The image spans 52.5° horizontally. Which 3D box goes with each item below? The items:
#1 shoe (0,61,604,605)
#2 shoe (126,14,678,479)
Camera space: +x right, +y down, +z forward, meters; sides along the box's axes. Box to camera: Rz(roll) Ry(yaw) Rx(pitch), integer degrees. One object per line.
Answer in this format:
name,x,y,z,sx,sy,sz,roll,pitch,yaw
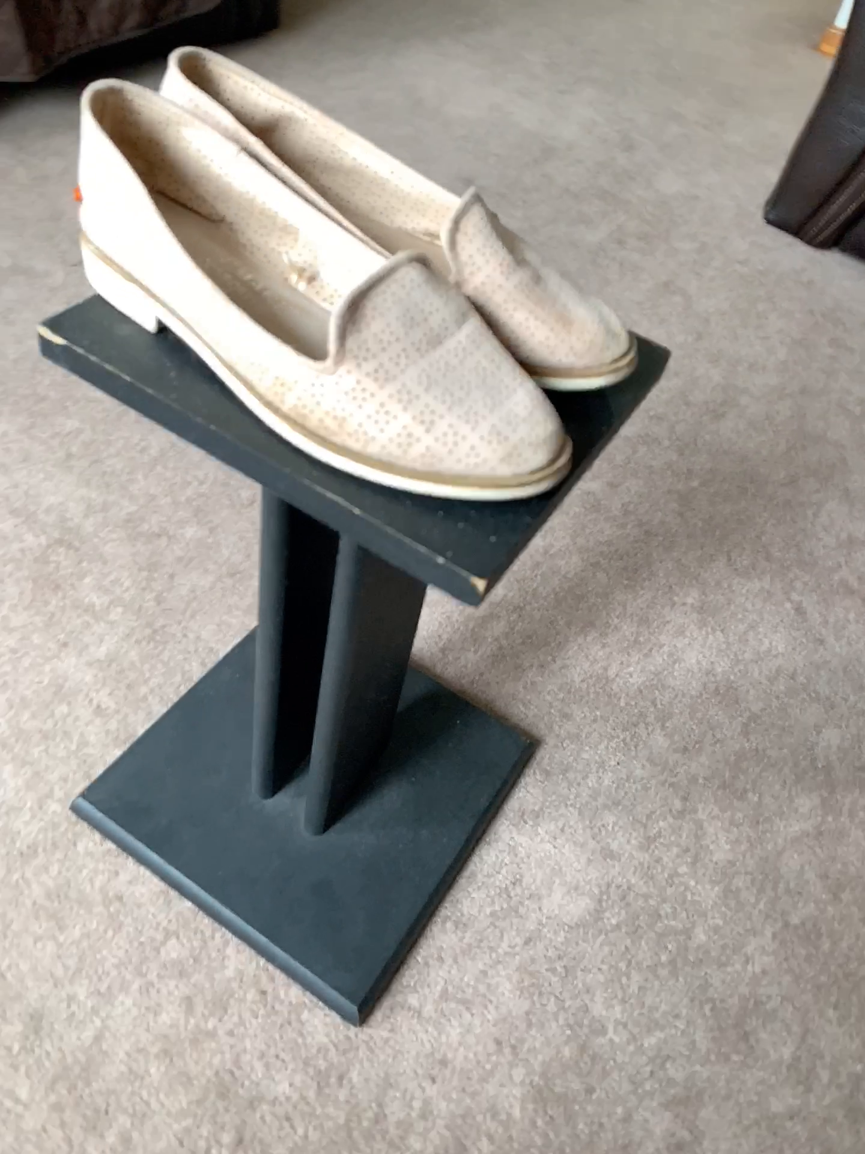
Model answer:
shoe,-0.062,-0.110,0.377,0.250,0.079,0.081,38,52,10
shoe,-0.018,-0.162,0.430,0.250,0.079,0.081,32,50,2
